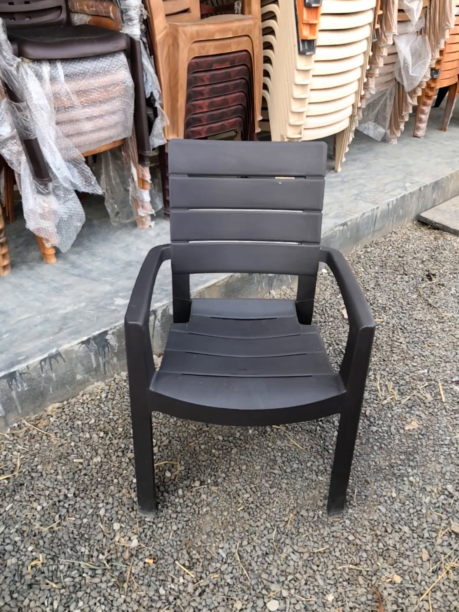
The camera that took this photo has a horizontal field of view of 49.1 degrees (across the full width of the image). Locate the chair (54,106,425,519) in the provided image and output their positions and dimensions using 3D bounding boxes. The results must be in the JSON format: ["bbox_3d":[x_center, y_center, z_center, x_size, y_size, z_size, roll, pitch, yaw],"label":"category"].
[{"bbox_3d":[0.014,-0.004,1.280,0.570,0.796,0.684,0,35,0],"label":"chair"}]
